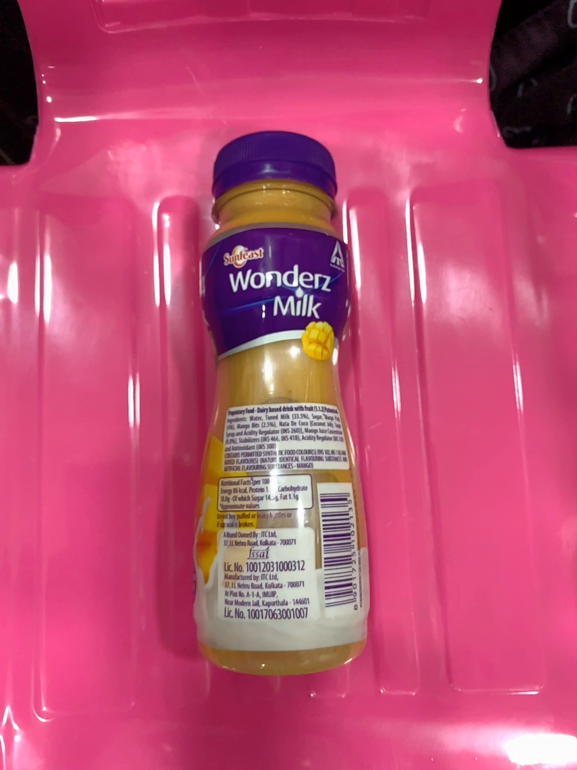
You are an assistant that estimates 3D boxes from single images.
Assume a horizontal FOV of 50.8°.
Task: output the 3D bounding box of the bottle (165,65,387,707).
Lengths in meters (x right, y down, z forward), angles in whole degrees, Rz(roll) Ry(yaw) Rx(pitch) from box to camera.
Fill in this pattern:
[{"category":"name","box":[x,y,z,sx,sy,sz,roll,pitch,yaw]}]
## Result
[{"category":"bottle","box":[-0.005,-0.001,0.177,0.050,0.050,0.160,-2,84,-1]}]
